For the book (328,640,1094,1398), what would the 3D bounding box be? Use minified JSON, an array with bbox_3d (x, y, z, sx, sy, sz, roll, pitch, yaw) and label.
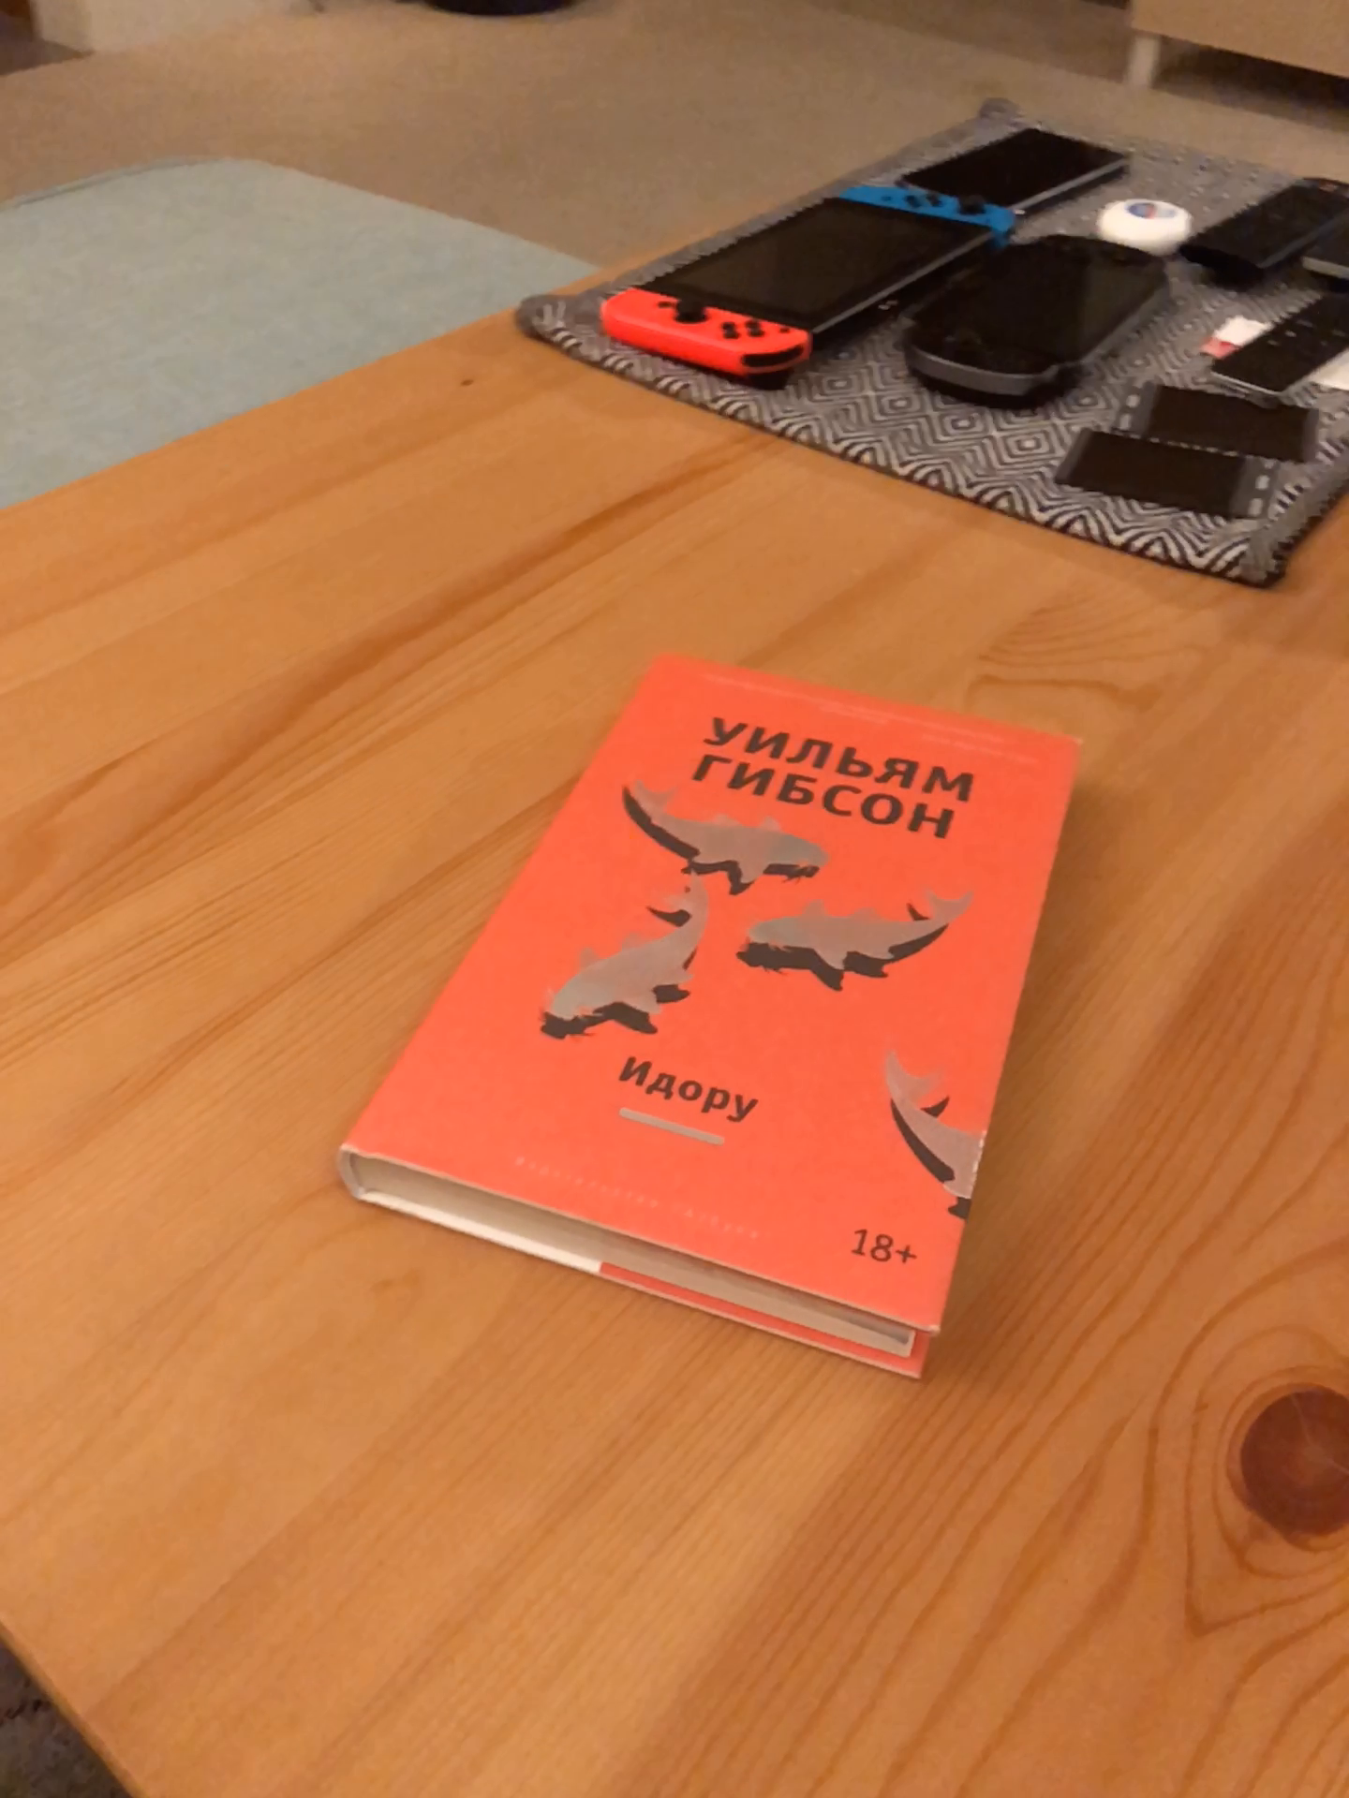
[{"bbox_3d":[0.024,0.010,0.380,0.134,0.020,0.208,14,44,13],"label":"book"}]
